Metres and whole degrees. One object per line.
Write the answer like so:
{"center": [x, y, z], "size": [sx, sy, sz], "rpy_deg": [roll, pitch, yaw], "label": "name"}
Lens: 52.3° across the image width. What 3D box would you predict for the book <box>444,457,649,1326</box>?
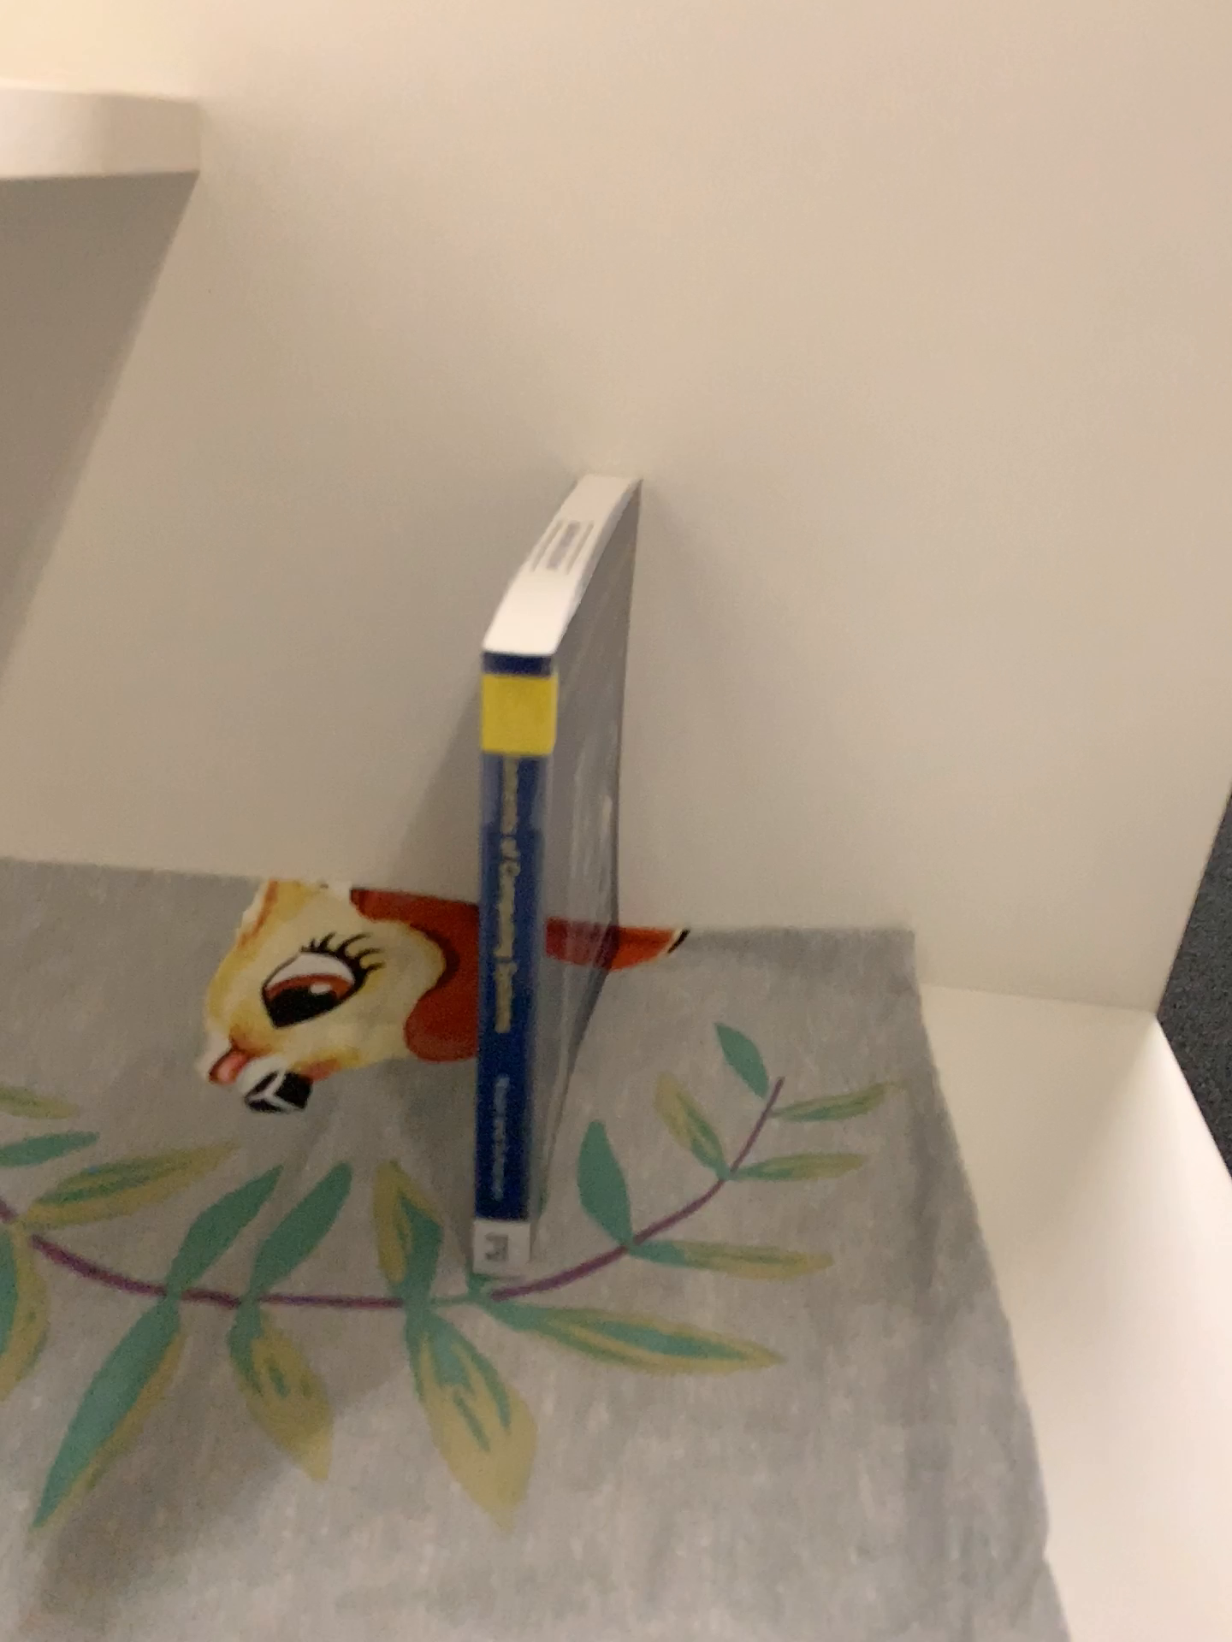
{"center": [-0.022, 0.011, 0.464], "size": [0.030, 0.238, 0.222], "rpy_deg": [6, 28, 4], "label": "book"}
